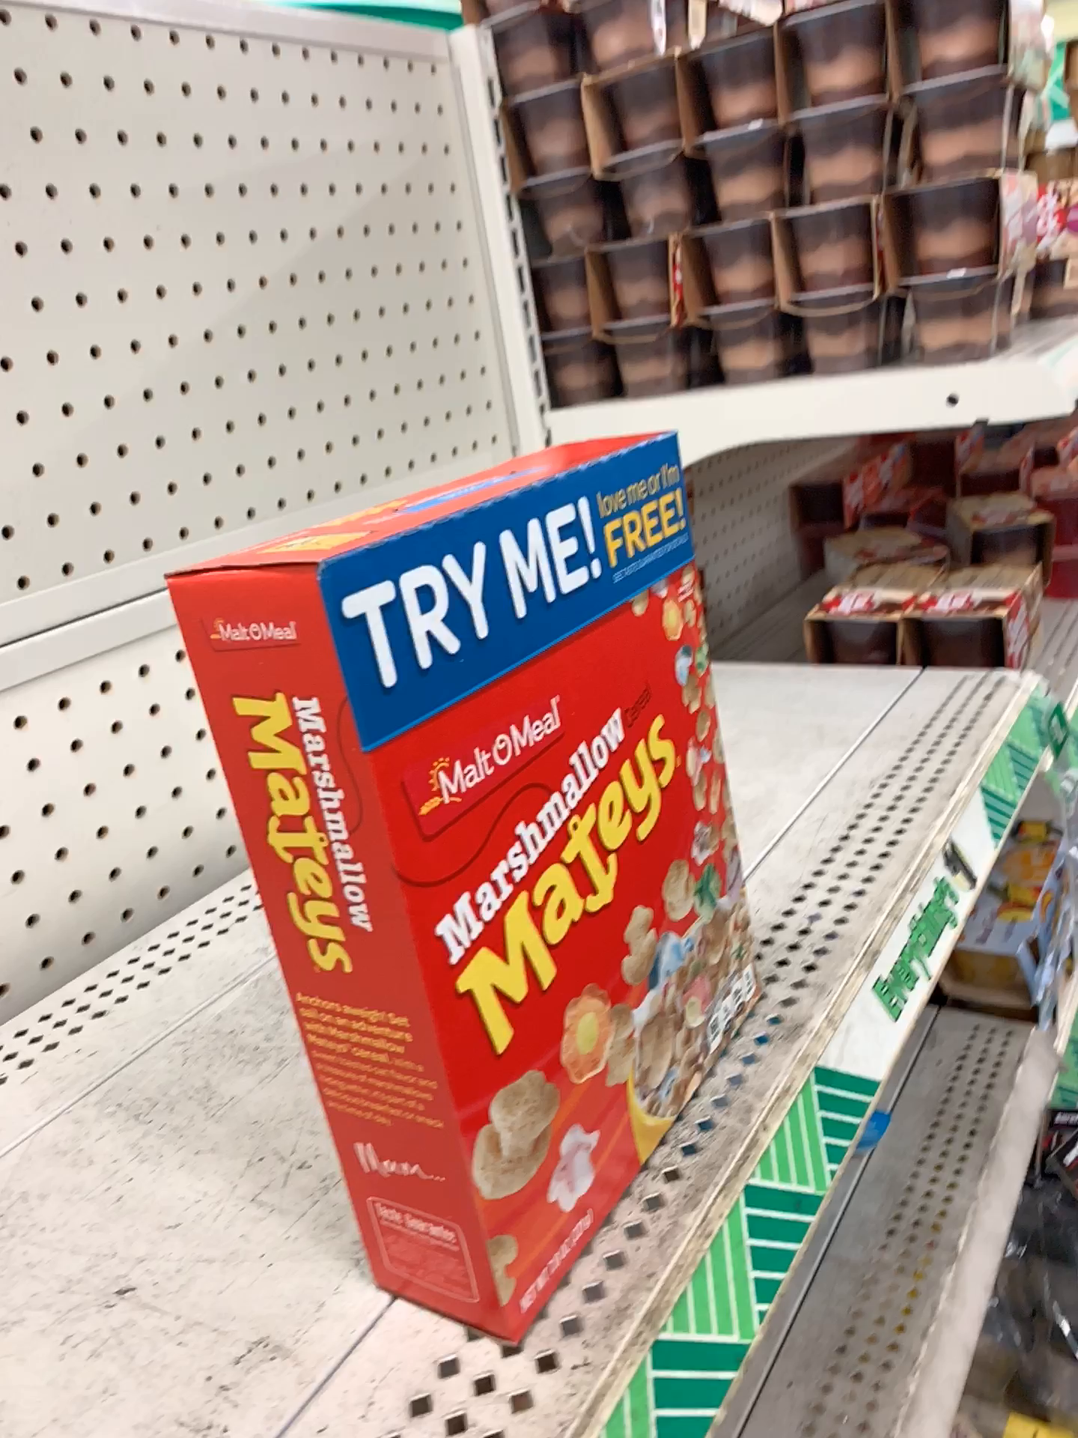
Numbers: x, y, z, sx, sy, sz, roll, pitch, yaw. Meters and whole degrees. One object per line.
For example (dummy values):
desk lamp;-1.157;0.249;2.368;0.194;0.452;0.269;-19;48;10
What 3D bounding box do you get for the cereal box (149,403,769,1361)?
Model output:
cereal box;-0.001;0.035;0.351;0.050;0.229;0.181;2;23;36
